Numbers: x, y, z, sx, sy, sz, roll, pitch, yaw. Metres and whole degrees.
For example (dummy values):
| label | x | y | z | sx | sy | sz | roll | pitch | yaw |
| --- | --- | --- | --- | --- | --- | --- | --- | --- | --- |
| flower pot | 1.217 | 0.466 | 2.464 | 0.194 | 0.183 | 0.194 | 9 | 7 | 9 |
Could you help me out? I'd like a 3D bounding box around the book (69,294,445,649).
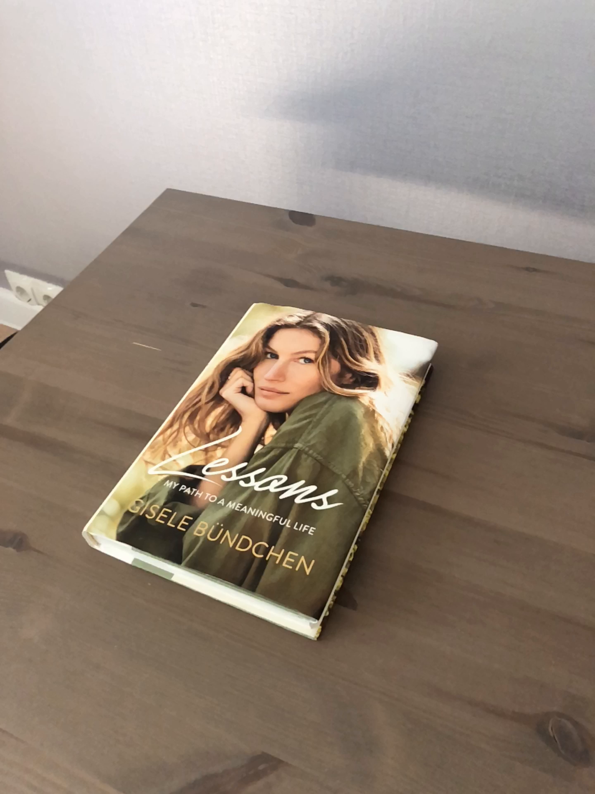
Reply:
| label | x | y | z | sx | sy | sz | roll | pitch | yaw |
| --- | --- | --- | --- | --- | --- | --- | --- | --- | --- |
| book | -0.013 | 0.027 | 0.438 | 0.160 | 0.030 | 0.228 | 16 | 50 | 19 |
